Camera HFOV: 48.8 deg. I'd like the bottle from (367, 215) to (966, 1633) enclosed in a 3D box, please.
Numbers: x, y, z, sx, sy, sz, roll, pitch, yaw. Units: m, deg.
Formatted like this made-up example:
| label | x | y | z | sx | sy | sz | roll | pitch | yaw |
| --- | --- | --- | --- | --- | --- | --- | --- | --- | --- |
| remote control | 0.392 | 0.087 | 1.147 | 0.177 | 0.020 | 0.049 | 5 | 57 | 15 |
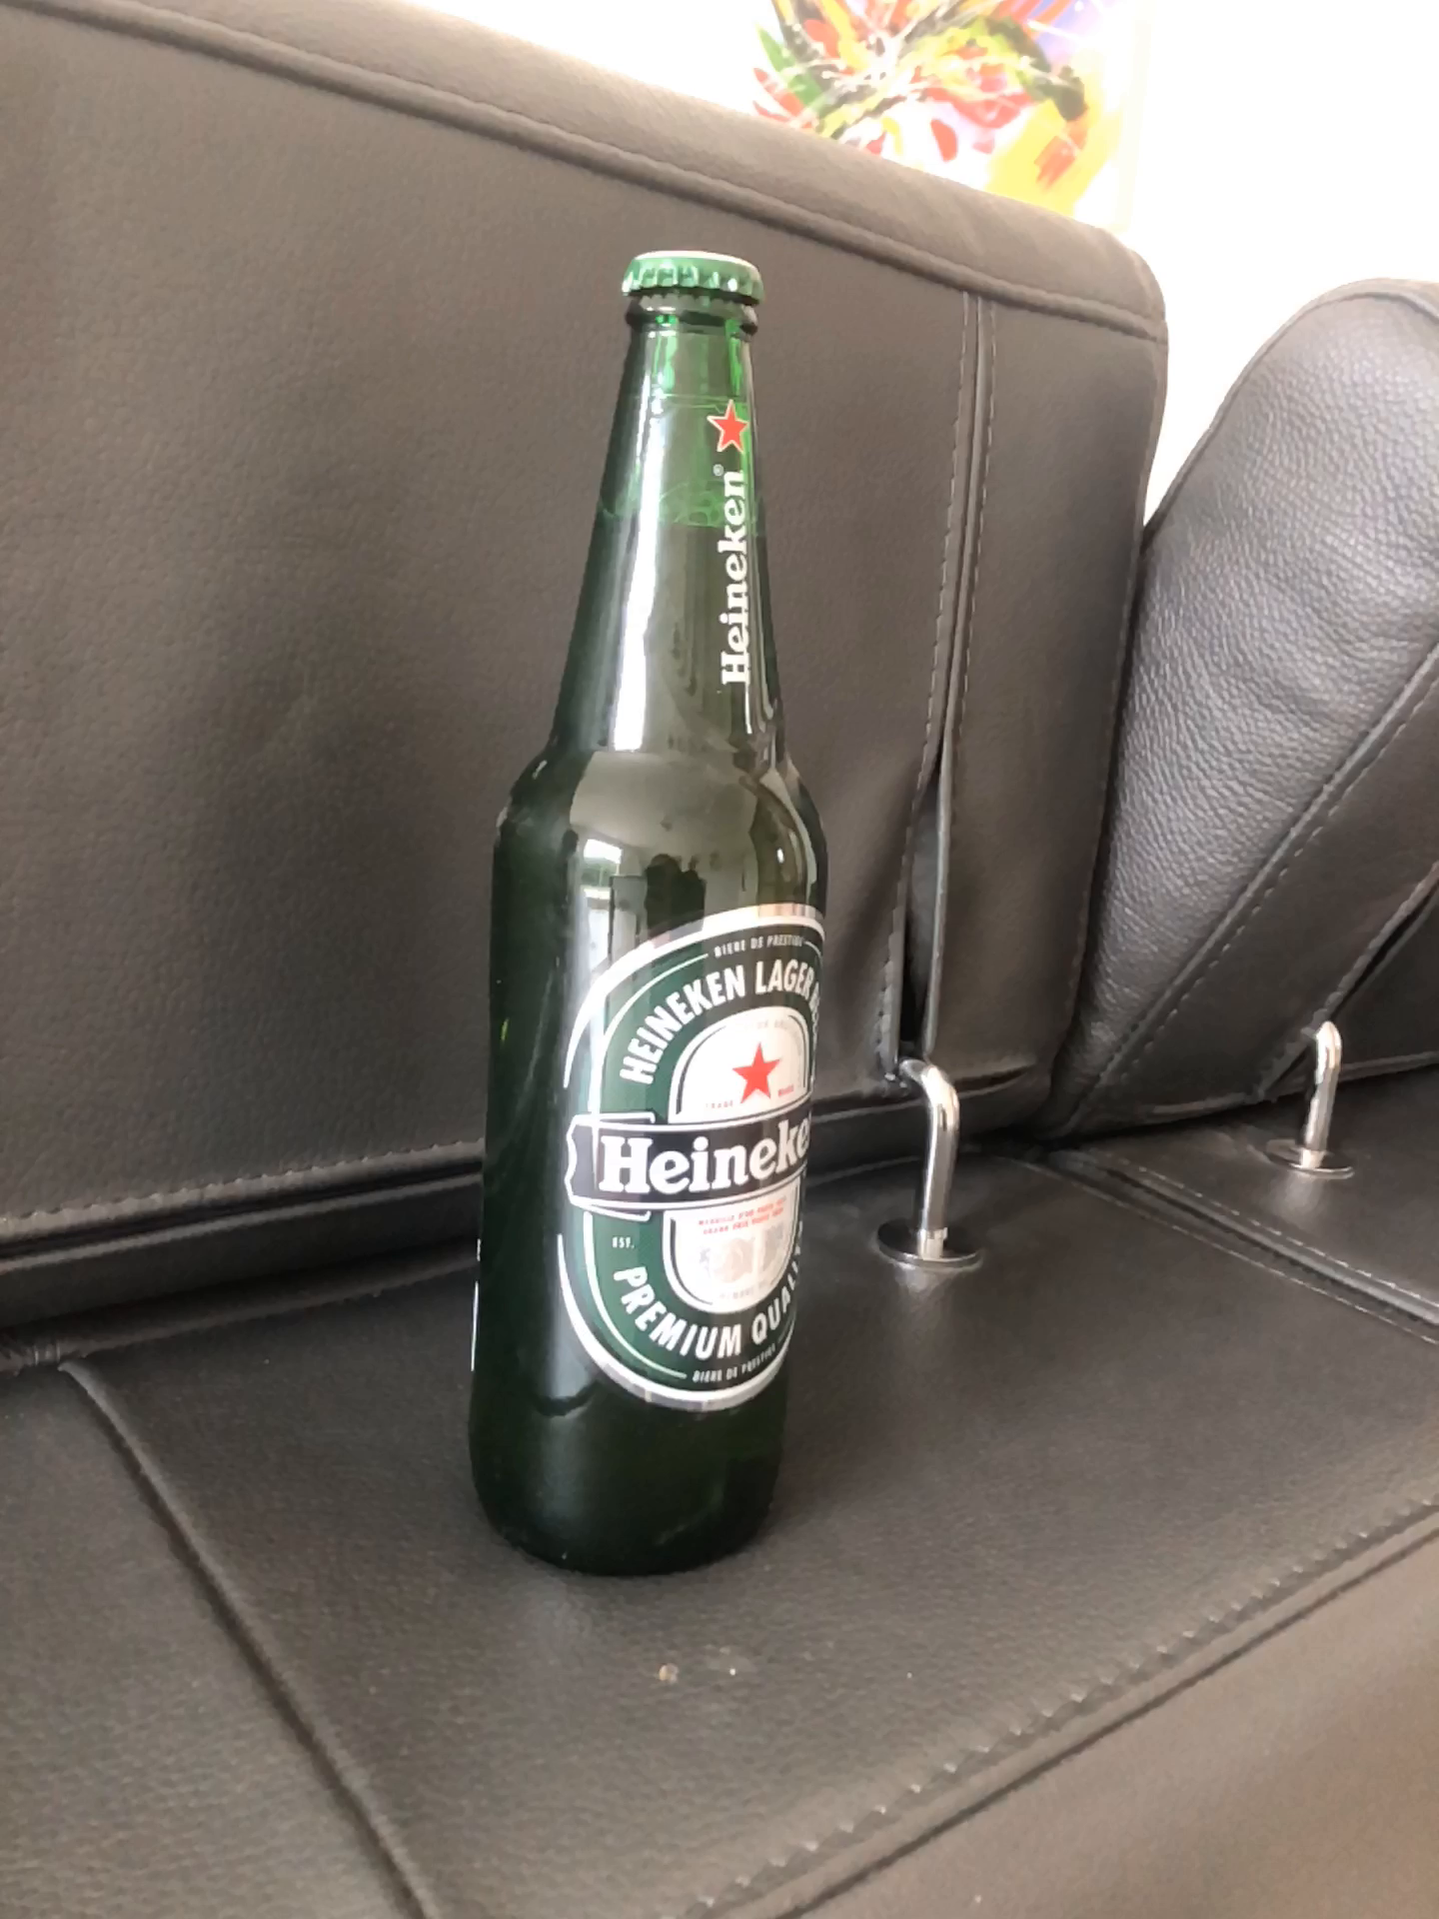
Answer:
| label | x | y | z | sx | sy | sz | roll | pitch | yaw |
| --- | --- | --- | --- | --- | --- | --- | --- | --- | --- |
| bottle | -0.018 | -0.006 | 0.350 | 0.080 | 0.269 | 0.080 | 5 | 12 | -1 |
